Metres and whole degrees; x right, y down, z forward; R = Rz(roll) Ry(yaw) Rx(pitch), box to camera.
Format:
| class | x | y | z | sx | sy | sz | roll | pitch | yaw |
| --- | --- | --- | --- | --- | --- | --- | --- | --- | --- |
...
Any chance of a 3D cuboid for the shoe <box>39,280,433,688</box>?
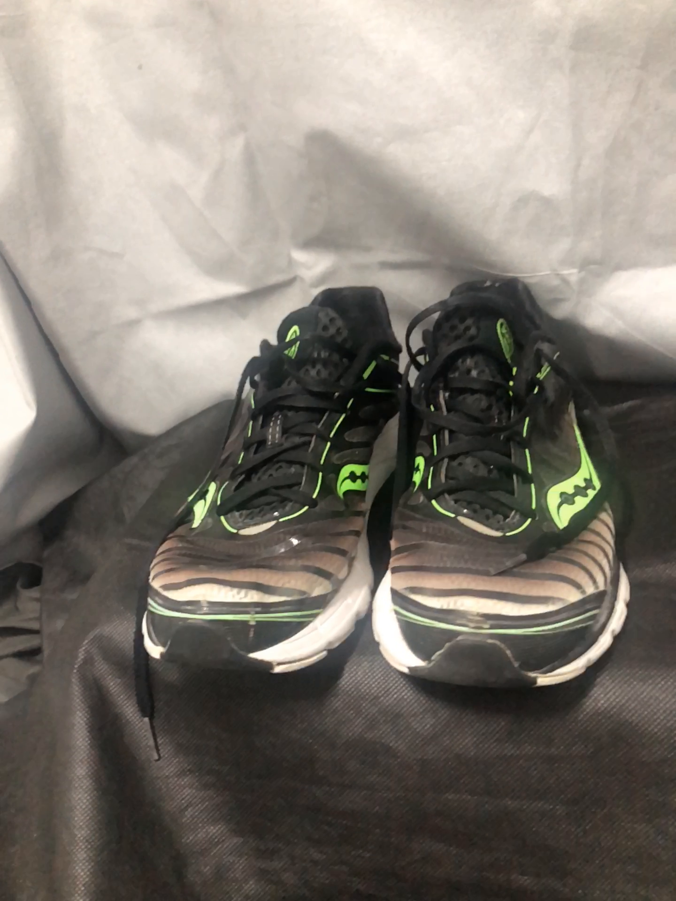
| class | x | y | z | sx | sy | sz | roll | pitch | yaw |
| --- | --- | --- | --- | --- | --- | --- | --- | --- | --- |
| shoe | -0.026 | -0.003 | 0.386 | 0.117 | 0.096 | 0.225 | 0 | 30 | 15 |

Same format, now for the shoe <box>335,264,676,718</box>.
| class | x | y | z | sx | sy | sz | roll | pitch | yaw |
| --- | --- | --- | --- | --- | --- | --- | --- | --- | --- |
| shoe | 0.086 | -0.004 | 0.353 | 0.114 | 0.097 | 0.225 | 0 | 30 | 15 |
